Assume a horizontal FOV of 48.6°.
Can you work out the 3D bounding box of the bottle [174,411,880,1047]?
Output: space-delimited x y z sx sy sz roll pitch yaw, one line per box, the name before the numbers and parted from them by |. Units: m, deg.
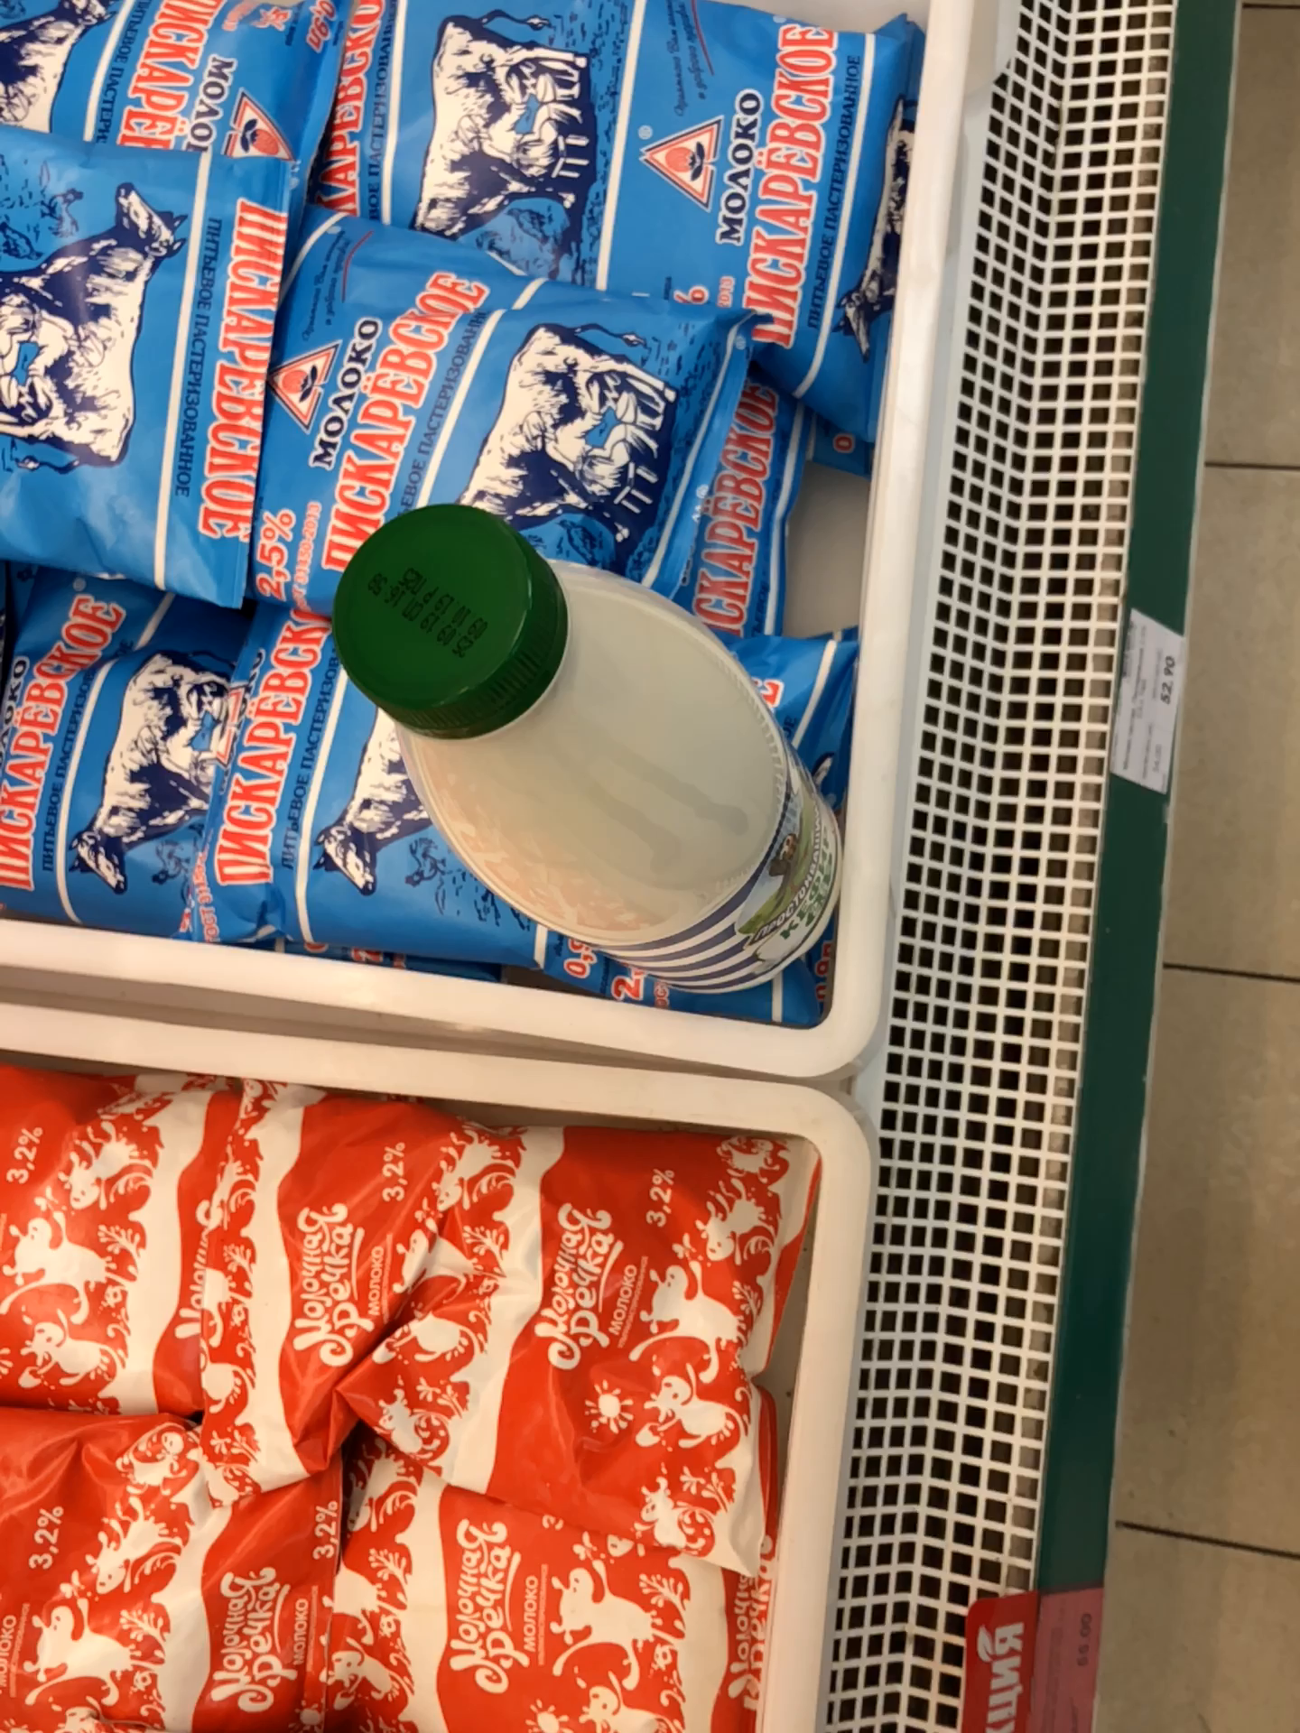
bottle | -0.006 -0.013 0.350 0.080 0.224 0.083 -3 79 15
